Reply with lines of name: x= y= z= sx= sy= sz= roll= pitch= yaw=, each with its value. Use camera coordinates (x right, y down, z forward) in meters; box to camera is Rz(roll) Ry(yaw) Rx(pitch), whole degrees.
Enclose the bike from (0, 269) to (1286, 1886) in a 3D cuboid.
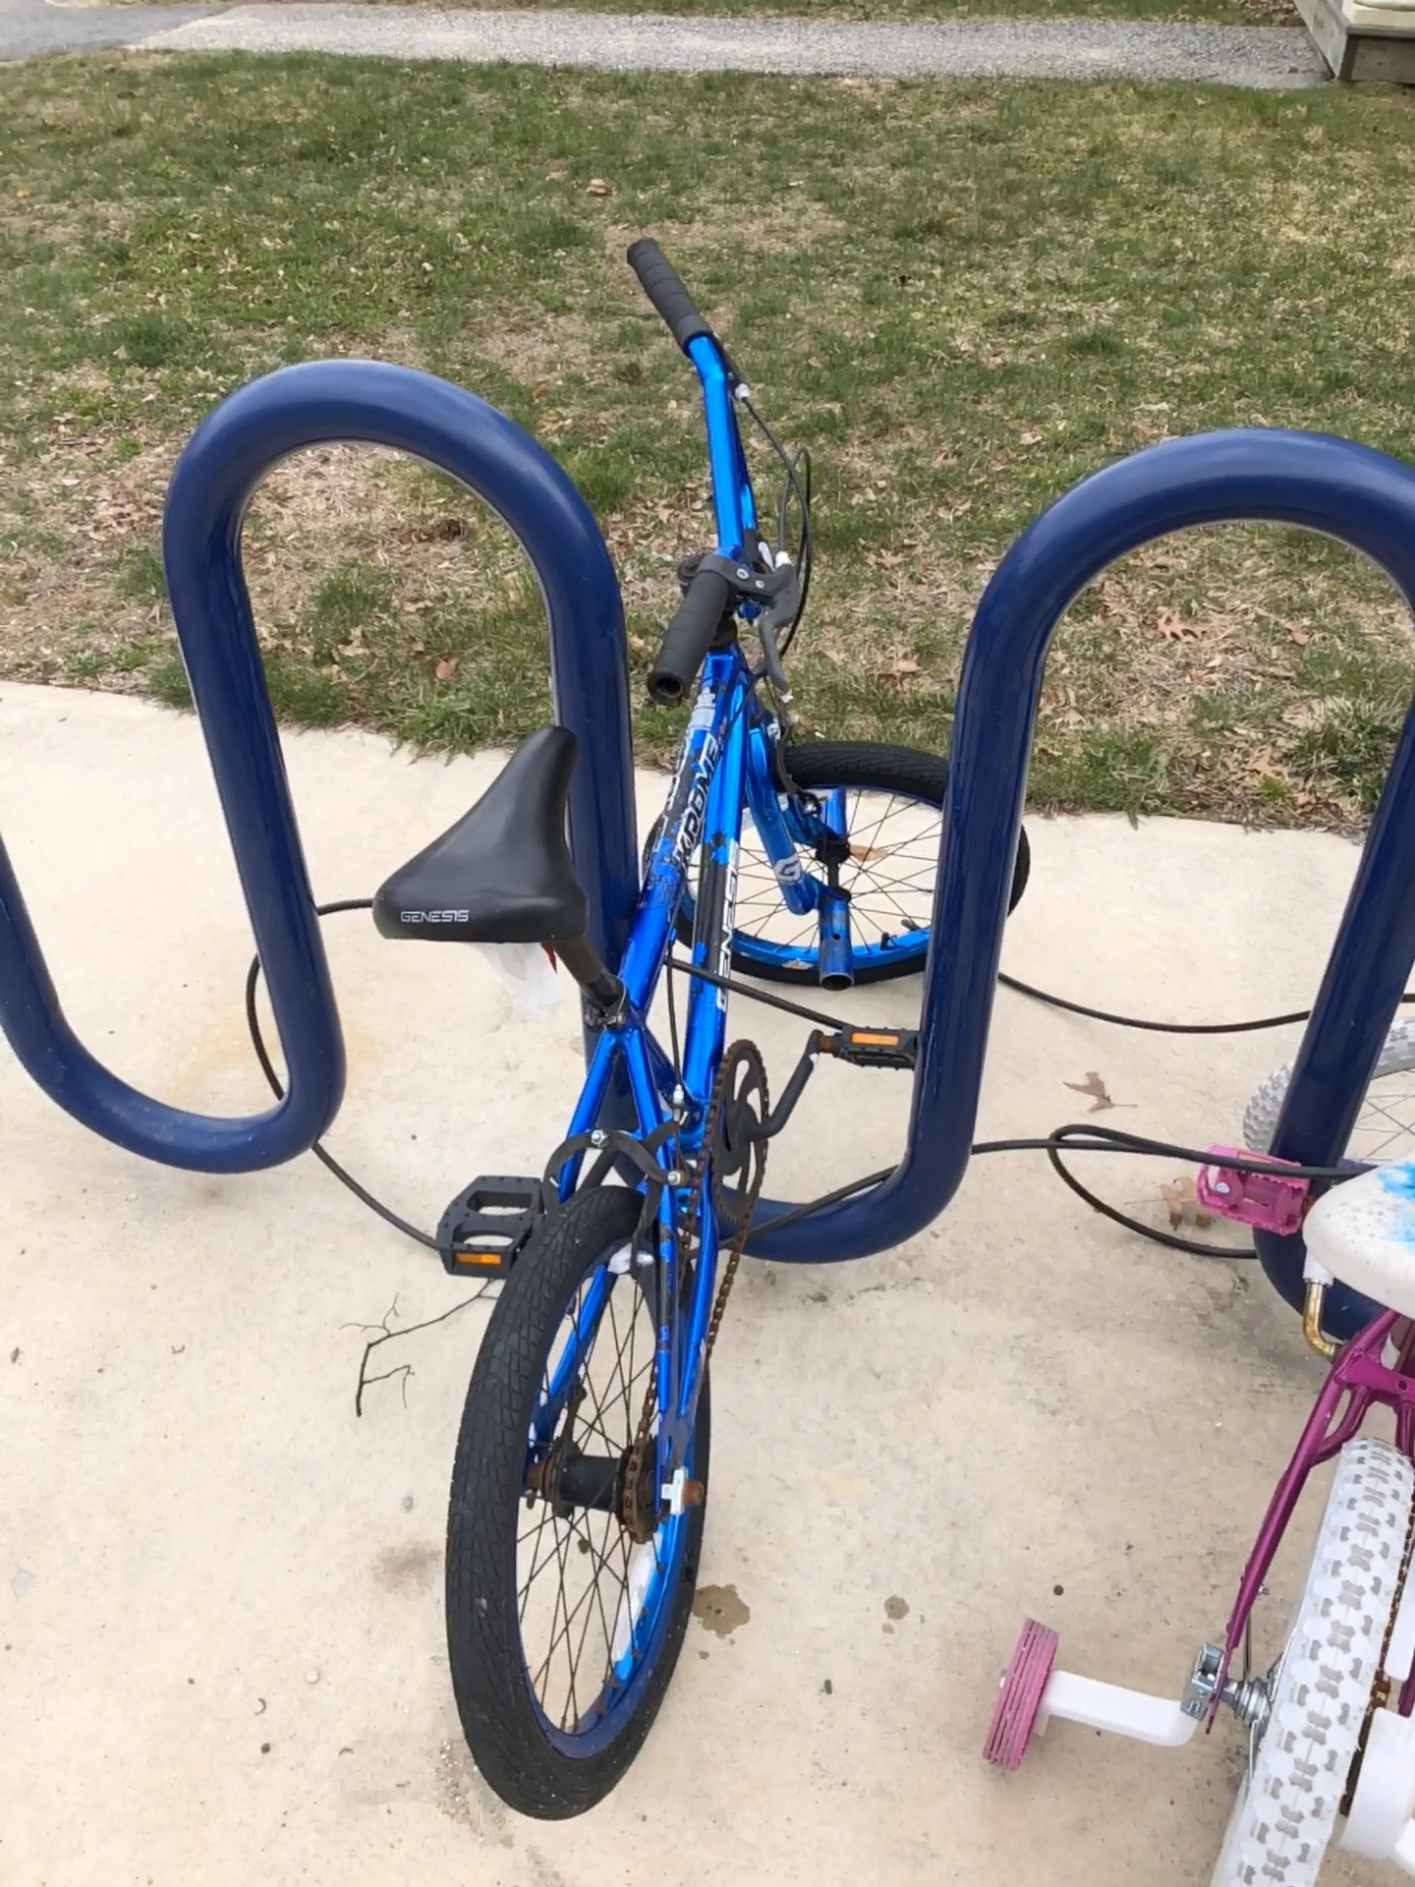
bike: x=-0.025 y=0.037 z=1.250 sx=0.621 sy=0.840 sz=1.036 roll=13 pitch=39 yaw=17
